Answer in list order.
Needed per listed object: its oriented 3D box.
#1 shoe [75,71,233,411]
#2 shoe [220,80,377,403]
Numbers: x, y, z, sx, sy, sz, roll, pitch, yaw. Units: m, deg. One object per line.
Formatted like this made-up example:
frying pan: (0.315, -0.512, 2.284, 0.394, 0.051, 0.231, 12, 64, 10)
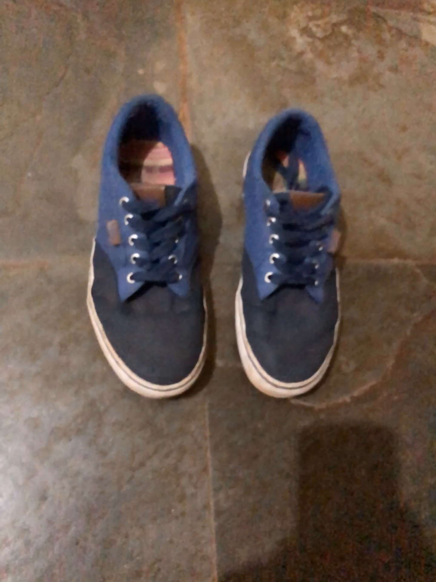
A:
shoe: (-0.064, -0.047, 0.426, 0.110, 0.080, 0.281, -1, 70, -13)
shoe: (0.066, -0.049, 0.464, 0.110, 0.080, 0.291, 5, 69, -10)
